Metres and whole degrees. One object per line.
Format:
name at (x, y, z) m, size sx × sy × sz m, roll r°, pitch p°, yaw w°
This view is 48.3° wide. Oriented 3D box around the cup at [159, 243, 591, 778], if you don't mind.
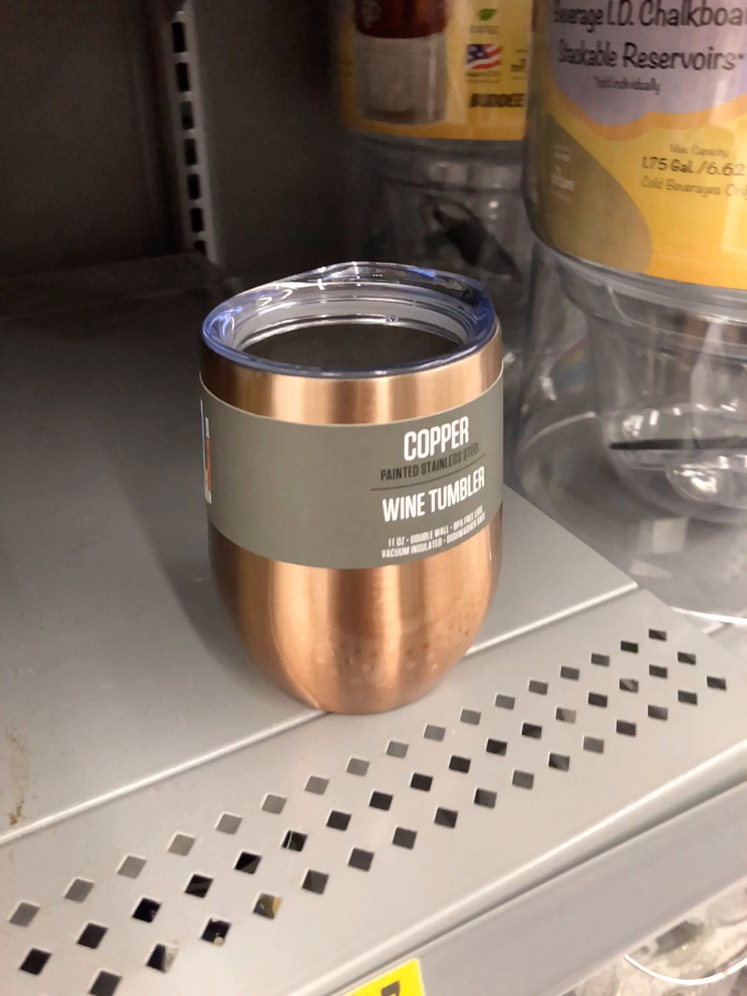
cup at (-0.002, 0.000, 0.247) m, size 0.088 × 0.121 × 0.068 m, roll -18°, pitch 37°, yaw -27°
